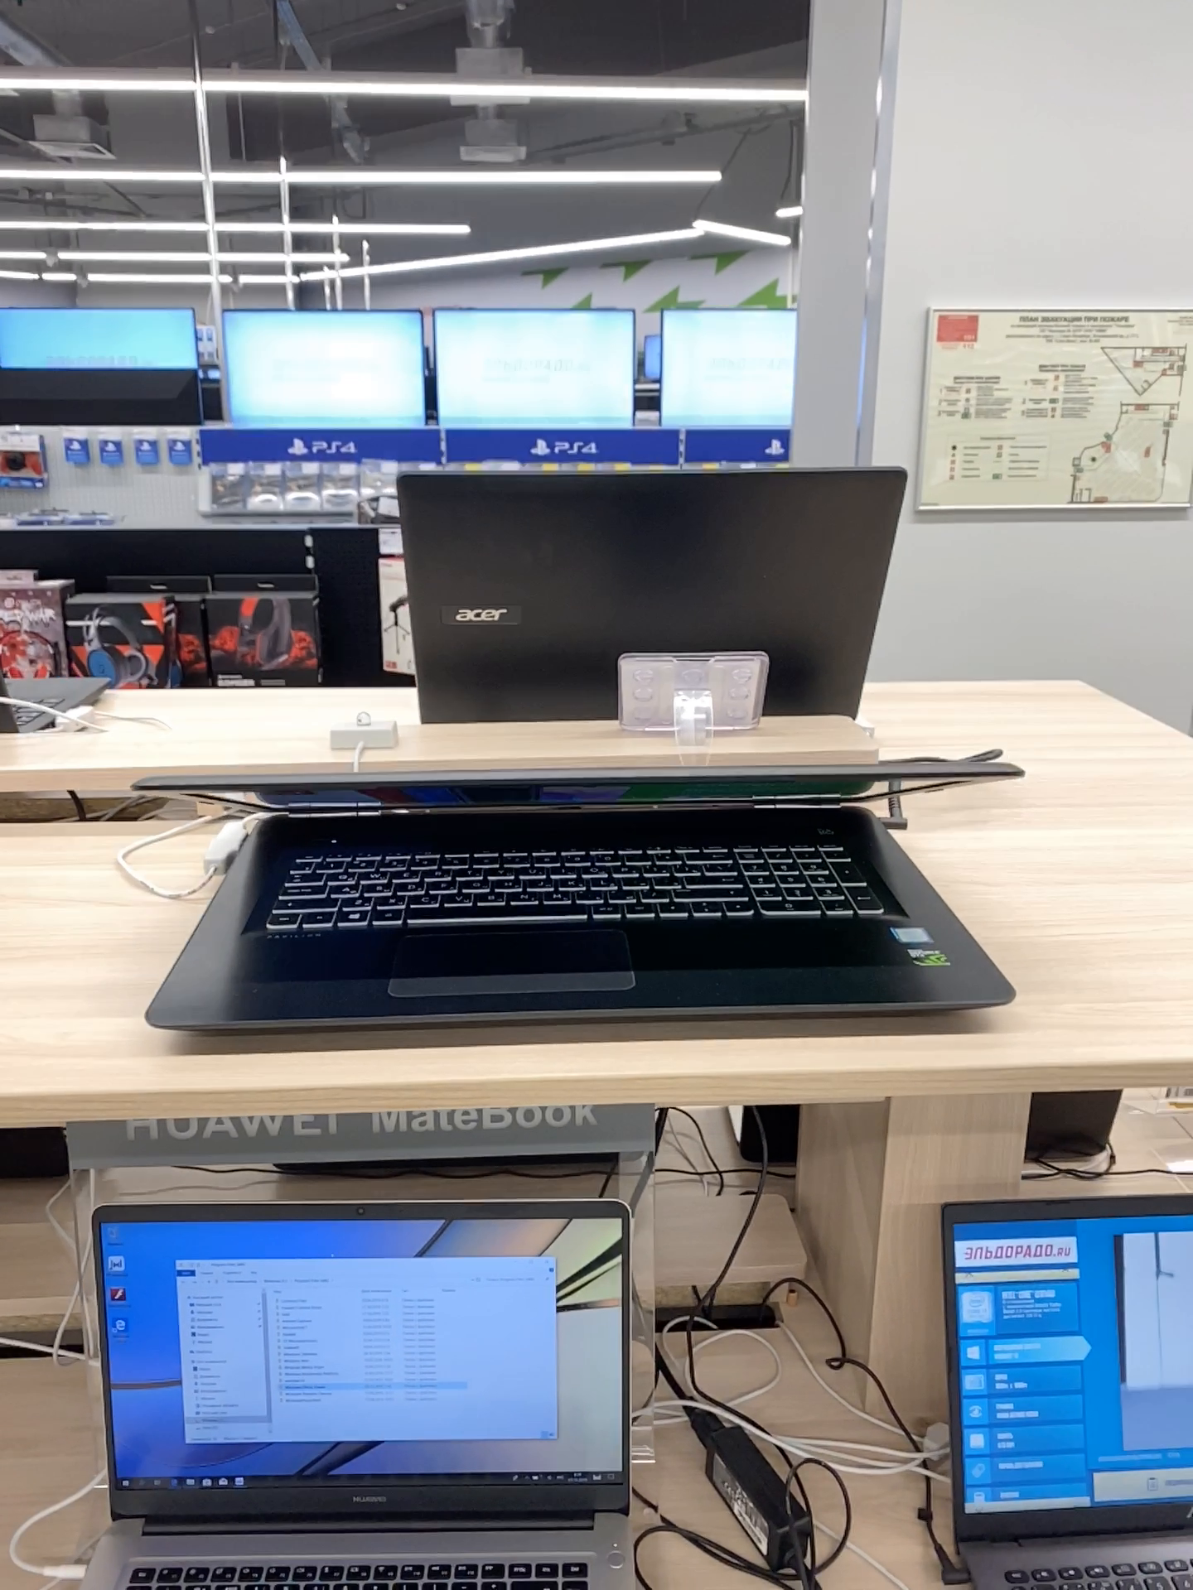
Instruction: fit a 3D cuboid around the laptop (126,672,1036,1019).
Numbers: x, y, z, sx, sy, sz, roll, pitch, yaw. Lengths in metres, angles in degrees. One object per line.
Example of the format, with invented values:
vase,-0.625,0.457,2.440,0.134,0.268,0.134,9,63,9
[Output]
laptop,-0.012,0.012,0.692,0.413,0.095,0.269,-1,19,-2
